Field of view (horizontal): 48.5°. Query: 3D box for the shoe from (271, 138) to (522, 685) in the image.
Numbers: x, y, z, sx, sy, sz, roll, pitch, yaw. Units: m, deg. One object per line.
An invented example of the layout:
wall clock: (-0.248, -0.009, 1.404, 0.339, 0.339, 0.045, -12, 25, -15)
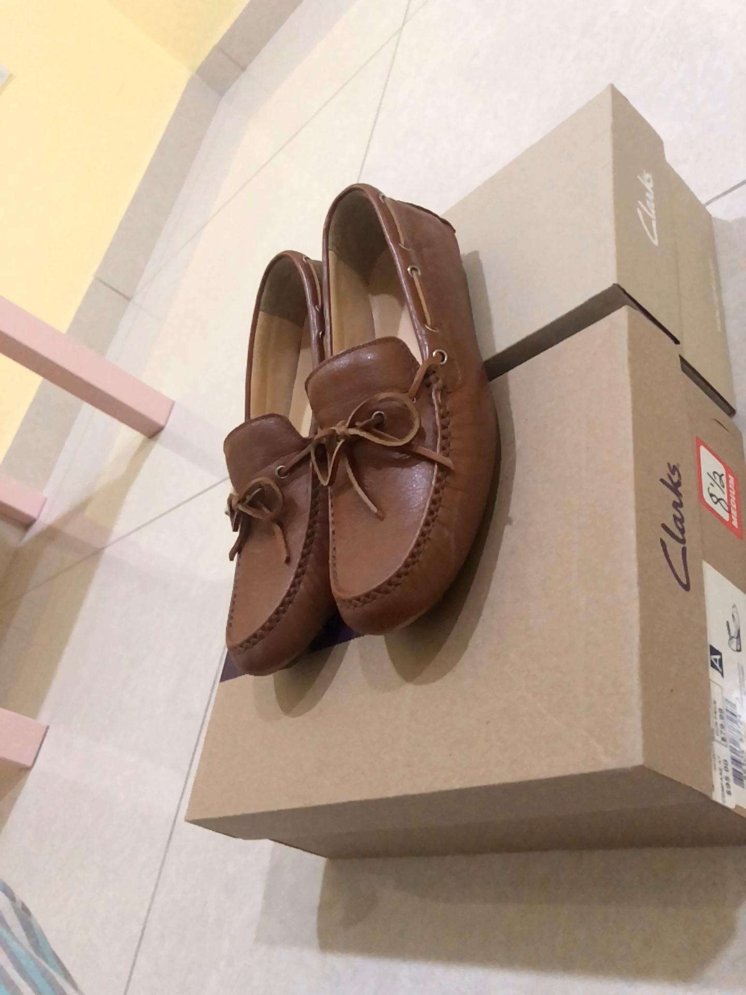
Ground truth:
shoe: (0.015, -0.054, 0.445, 0.080, 0.080, 0.280, -28, 48, 40)

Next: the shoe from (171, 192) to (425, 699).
shoe: (-0.035, -0.034, 0.488, 0.080, 0.080, 0.280, -23, 51, 44)
